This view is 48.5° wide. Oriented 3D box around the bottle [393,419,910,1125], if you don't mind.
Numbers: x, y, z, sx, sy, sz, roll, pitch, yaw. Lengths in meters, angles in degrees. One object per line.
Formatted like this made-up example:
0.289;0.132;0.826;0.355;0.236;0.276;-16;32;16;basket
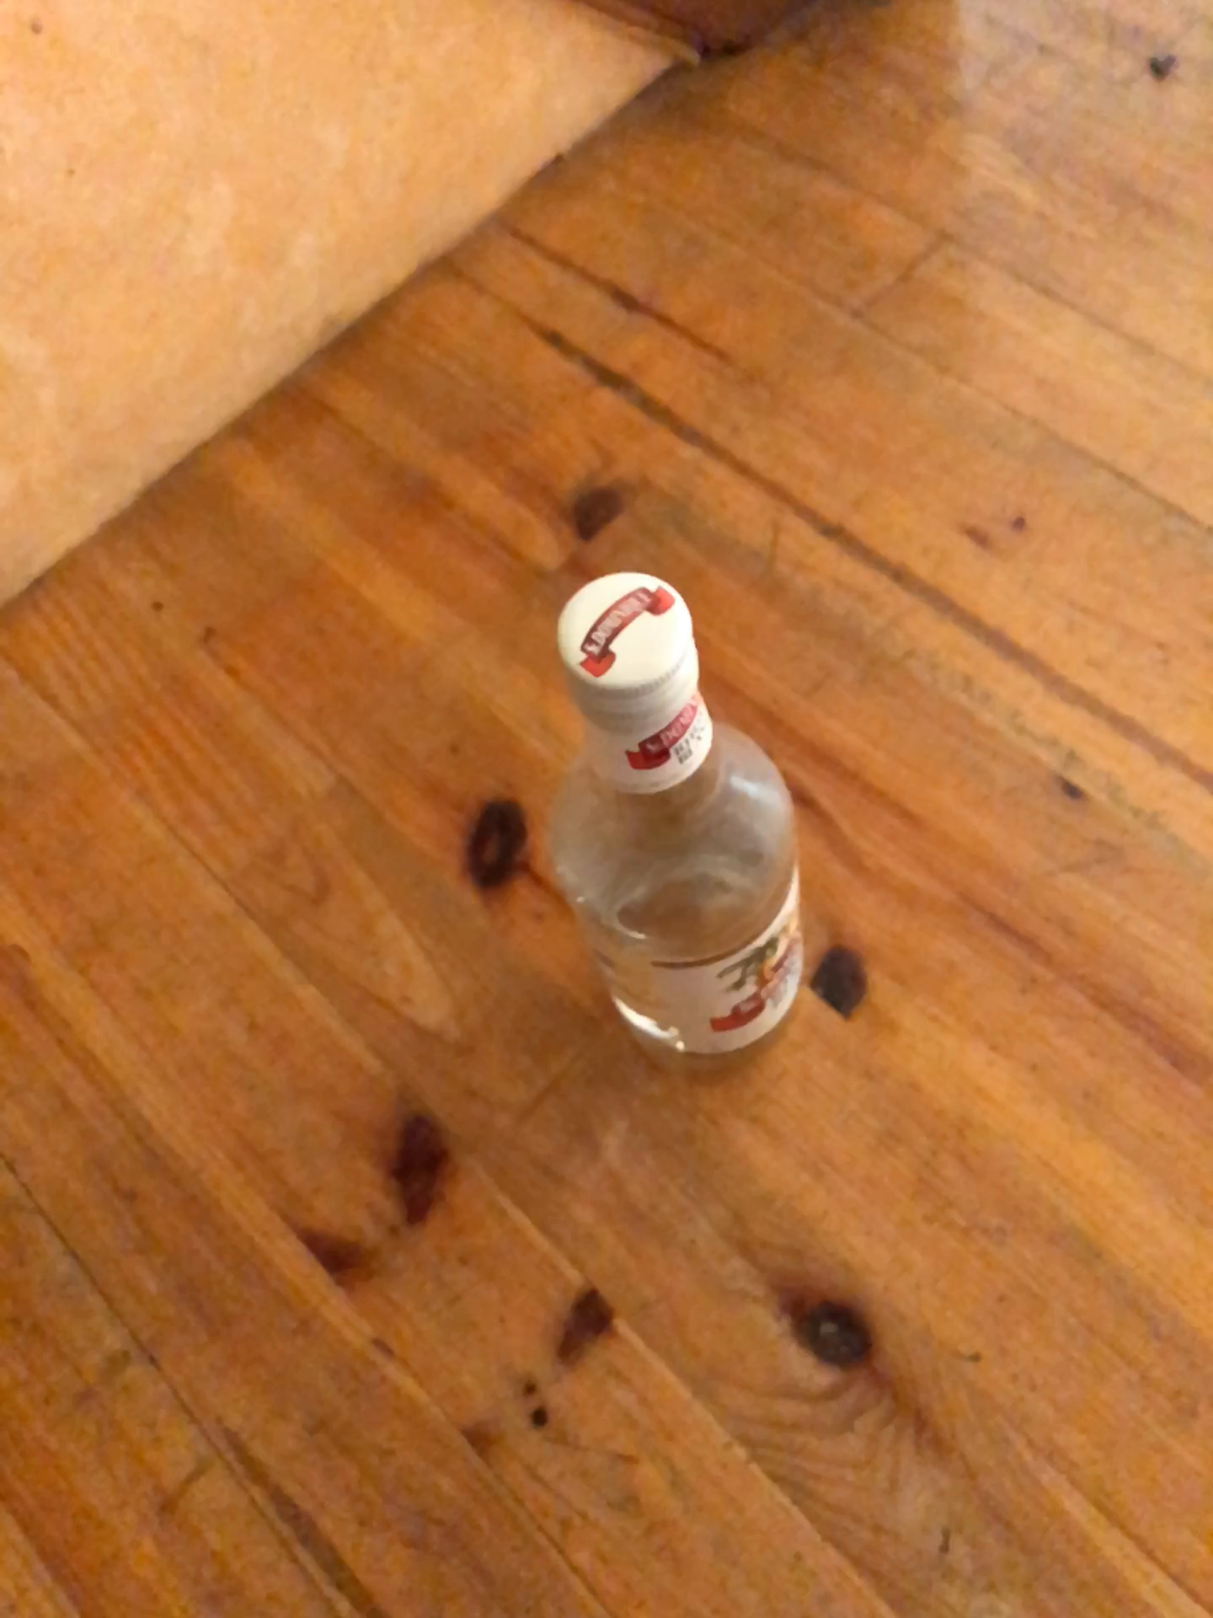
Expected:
0.029;0.012;0.415;0.080;0.259;0.090;27;73;19;bottle
